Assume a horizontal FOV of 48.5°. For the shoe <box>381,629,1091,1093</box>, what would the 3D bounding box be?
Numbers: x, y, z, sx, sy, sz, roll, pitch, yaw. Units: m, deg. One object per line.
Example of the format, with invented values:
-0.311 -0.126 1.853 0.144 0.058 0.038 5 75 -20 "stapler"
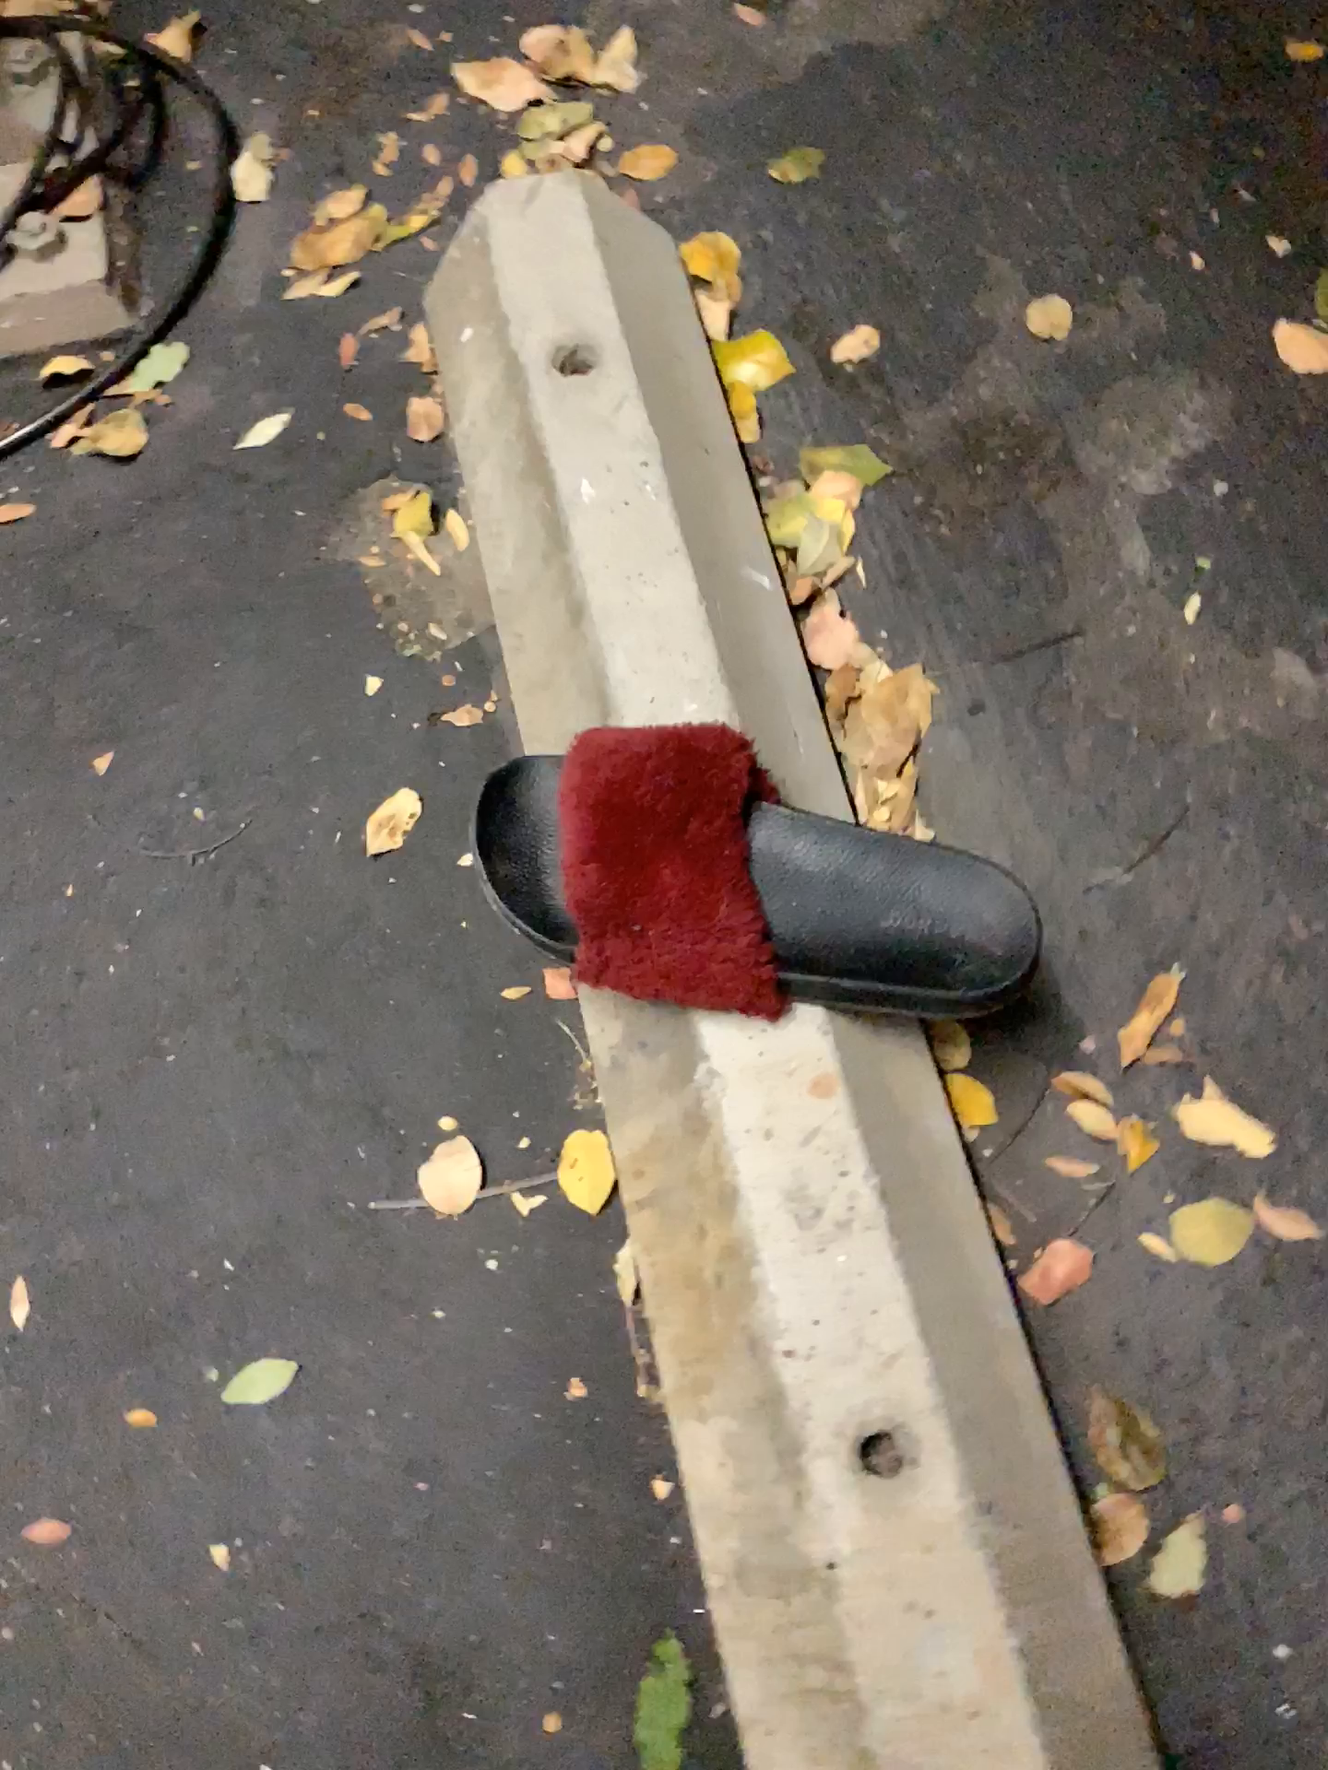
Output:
0.034 -0.014 0.657 0.280 0.050 0.140 13 67 8 "shoe"
